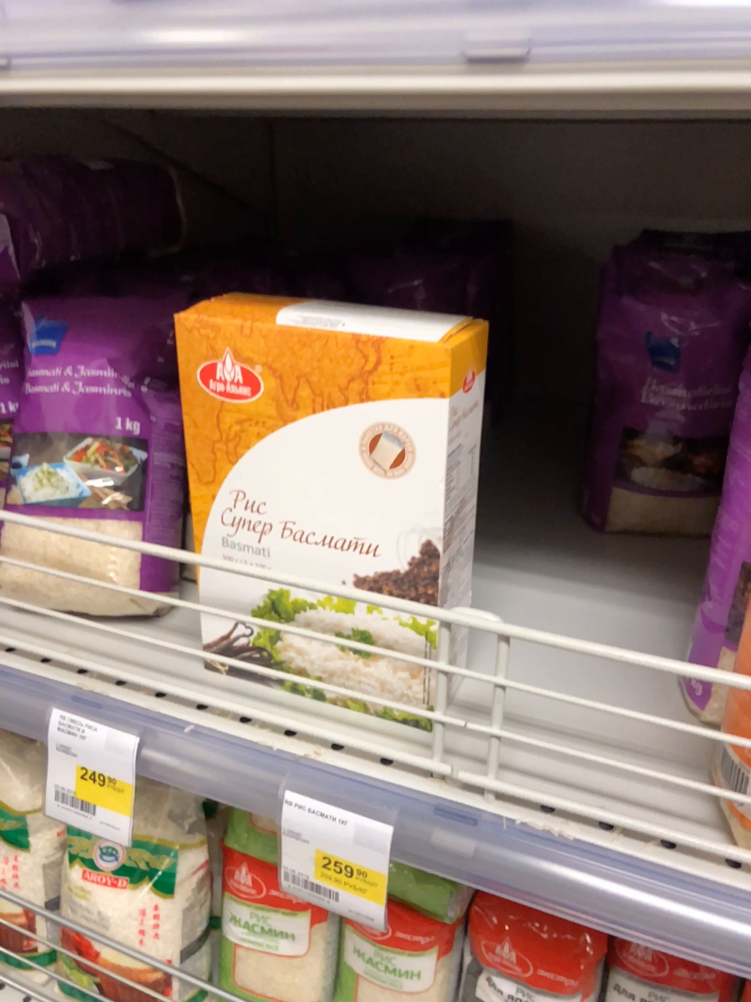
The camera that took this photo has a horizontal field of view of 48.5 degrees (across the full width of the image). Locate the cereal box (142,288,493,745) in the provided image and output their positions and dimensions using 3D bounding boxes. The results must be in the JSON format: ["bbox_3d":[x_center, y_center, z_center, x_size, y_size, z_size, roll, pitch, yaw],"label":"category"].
[{"bbox_3d":[-0.025,0.004,0.399,0.140,0.189,0.060,9,25,21],"label":"cereal box"}]
